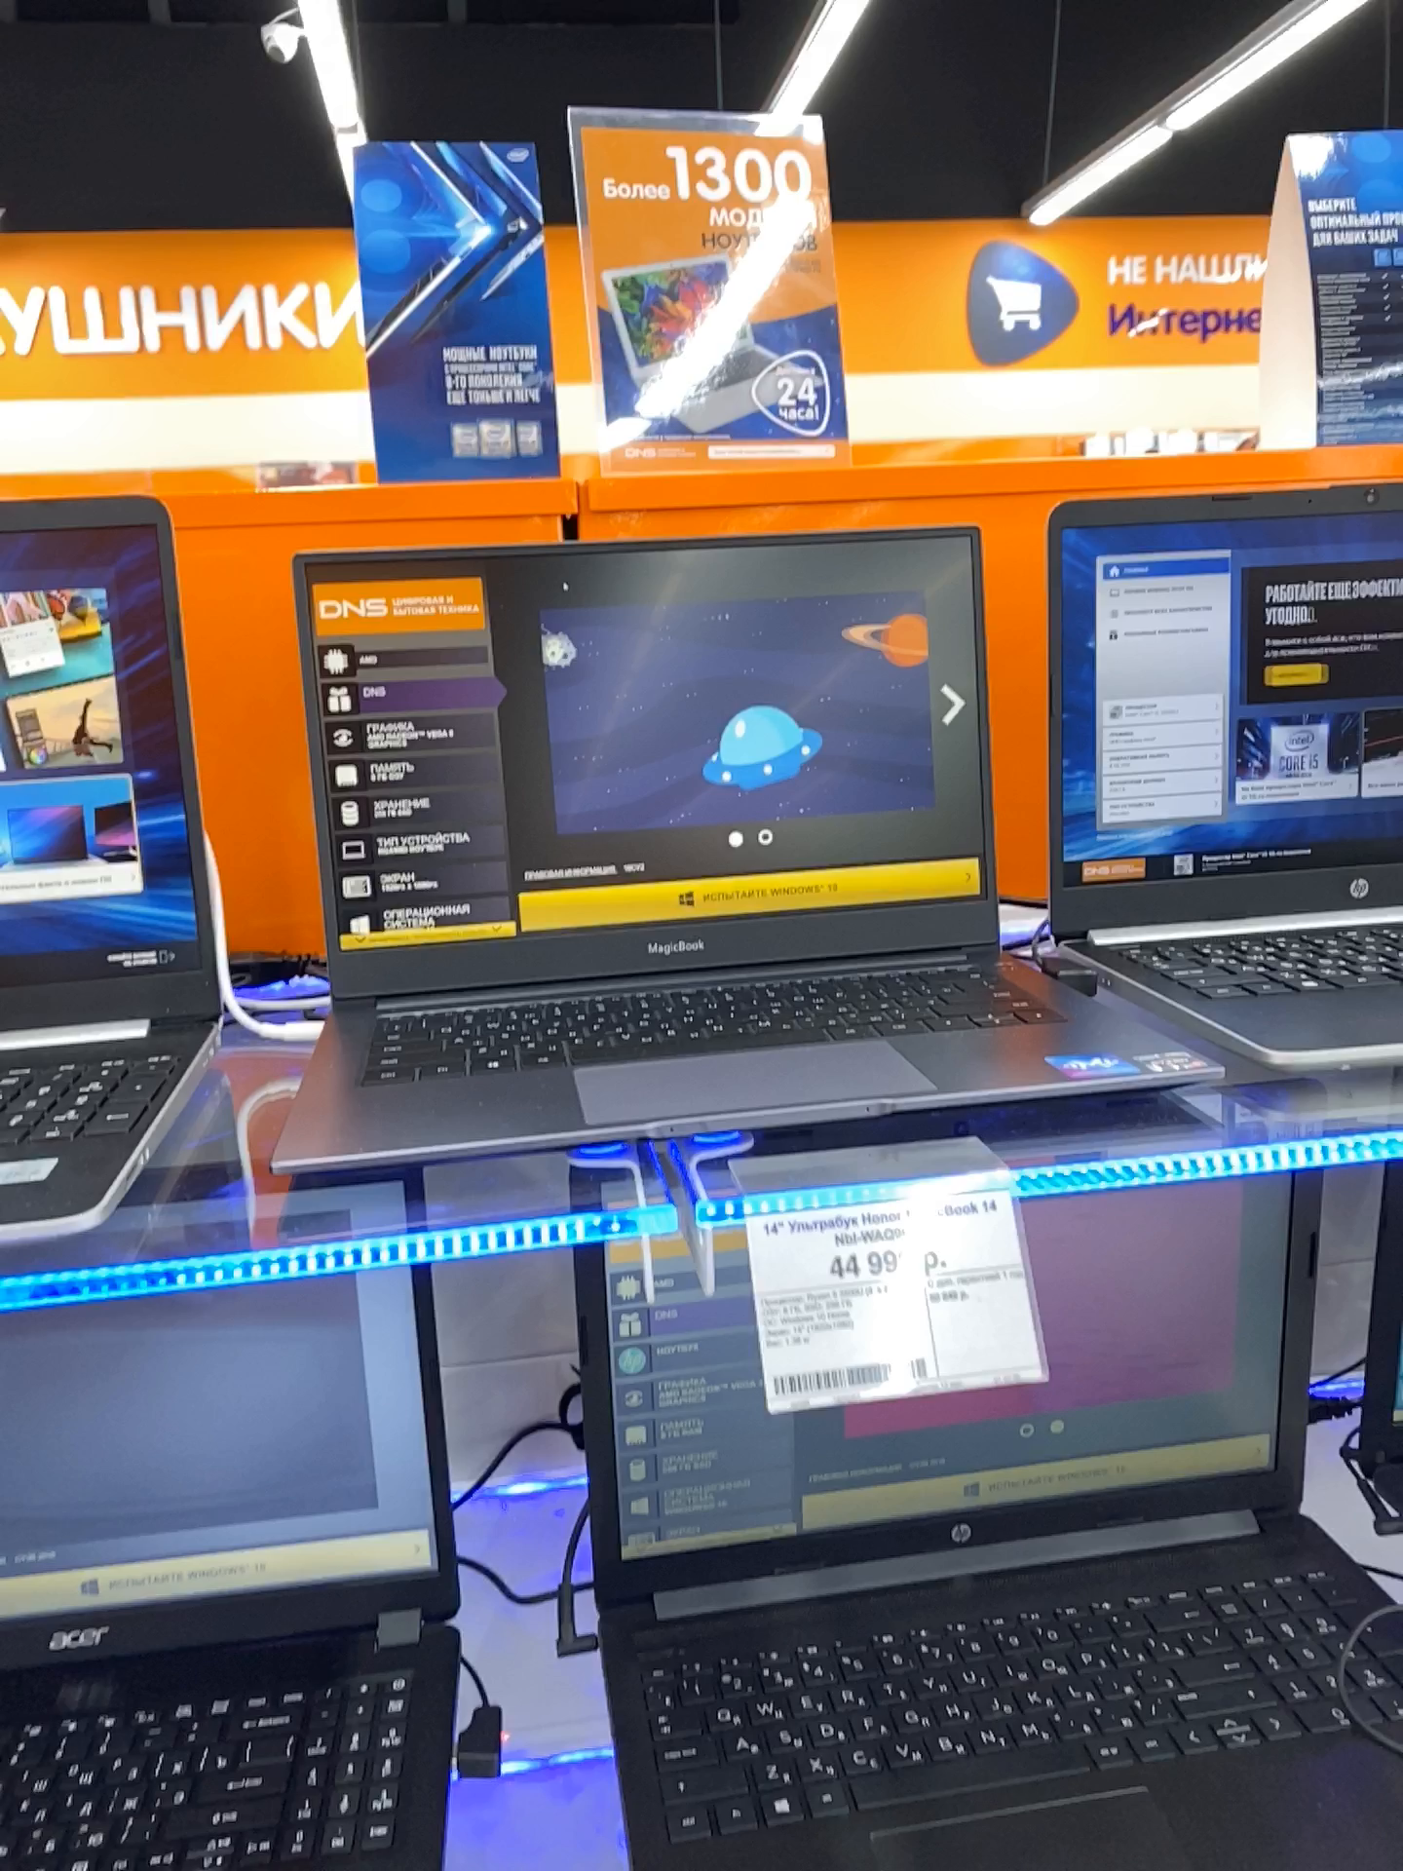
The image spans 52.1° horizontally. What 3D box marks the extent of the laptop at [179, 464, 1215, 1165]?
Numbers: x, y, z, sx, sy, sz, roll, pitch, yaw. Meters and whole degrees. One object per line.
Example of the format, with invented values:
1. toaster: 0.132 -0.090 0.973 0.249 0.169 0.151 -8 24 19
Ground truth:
1. laptop: -0.008 -0.062 0.573 0.323 0.203 0.238 -4 10 -9
